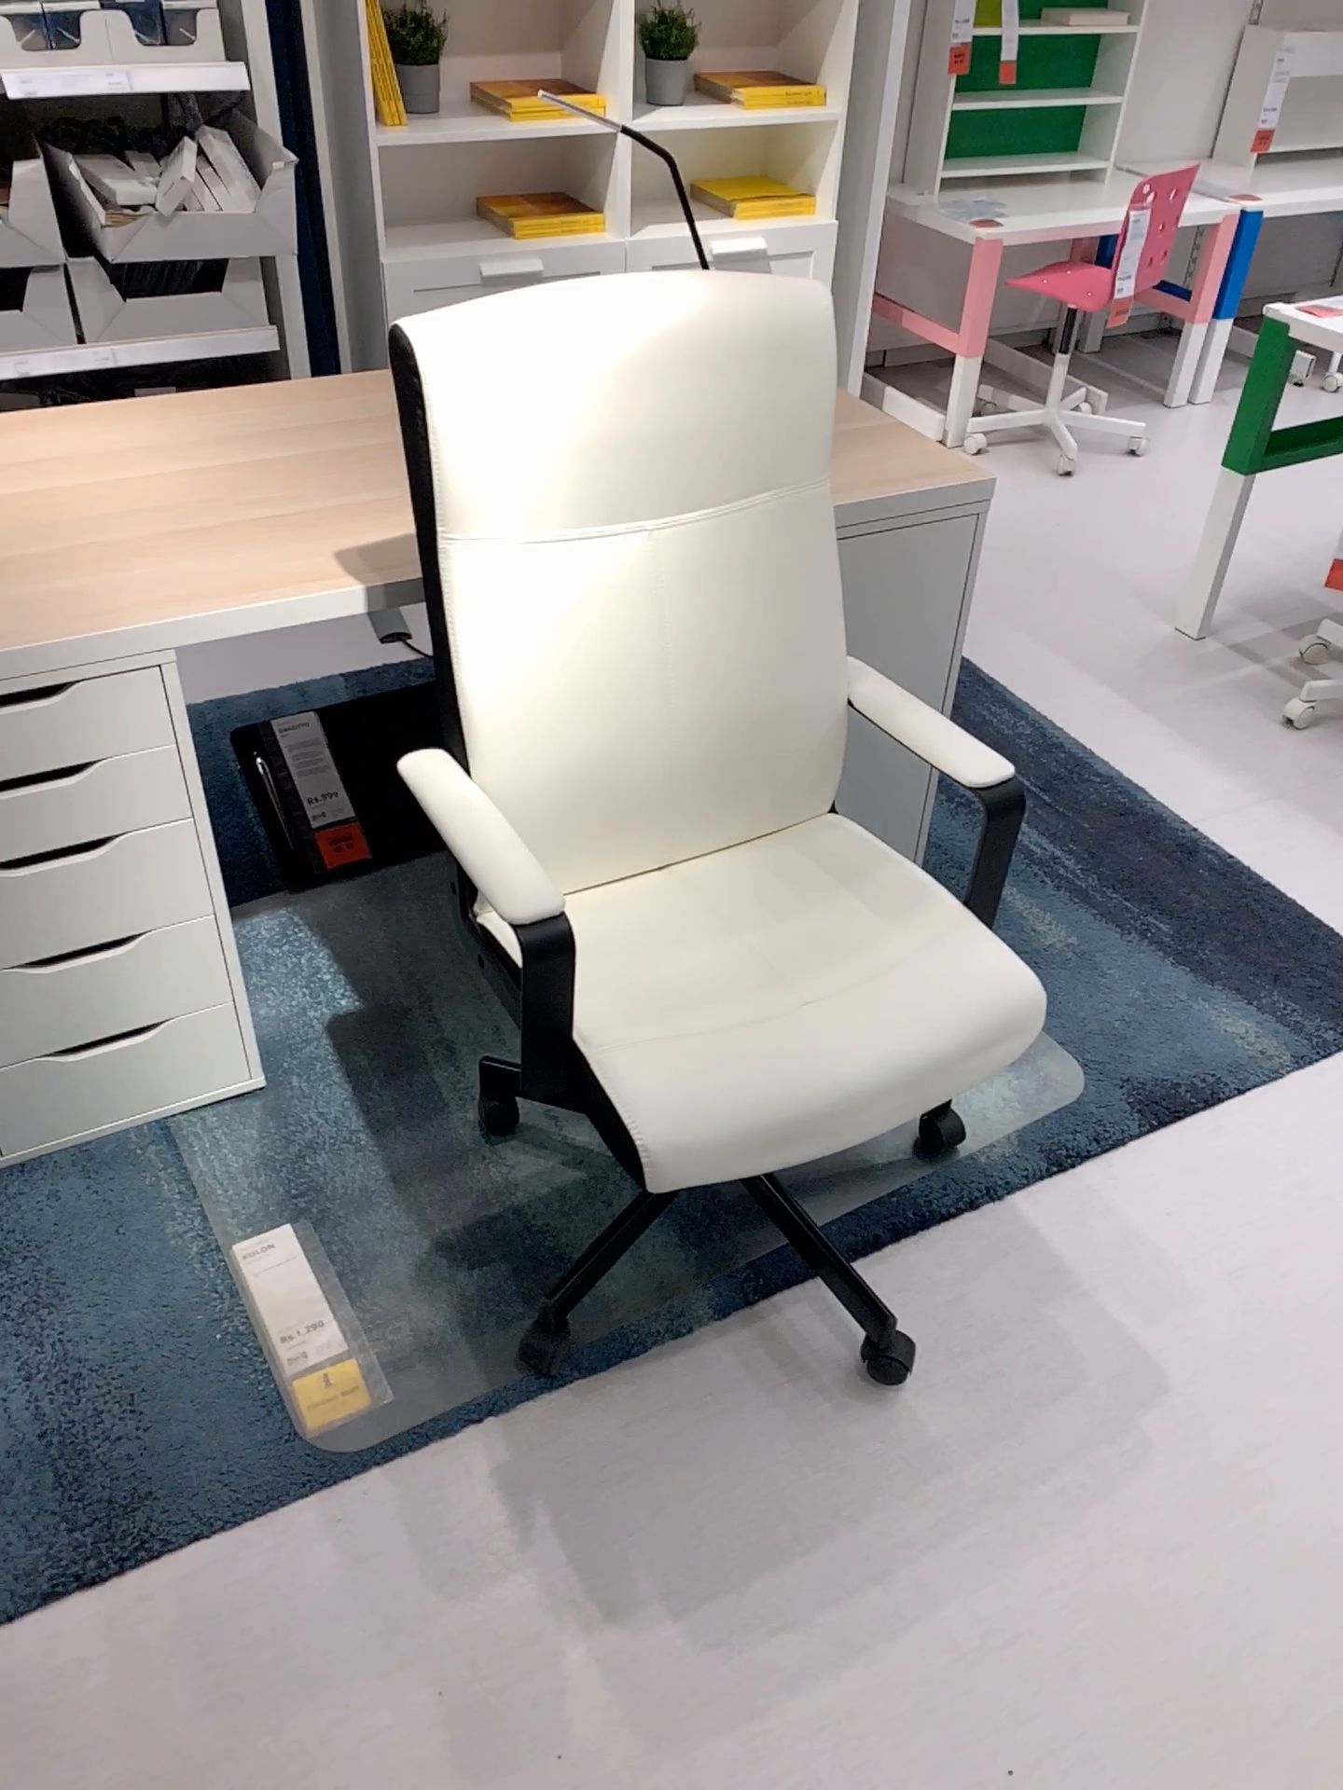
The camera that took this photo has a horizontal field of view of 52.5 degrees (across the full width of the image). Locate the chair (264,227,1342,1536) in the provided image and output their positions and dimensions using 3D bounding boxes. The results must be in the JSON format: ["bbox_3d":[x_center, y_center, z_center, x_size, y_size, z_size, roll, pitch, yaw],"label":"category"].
[{"bbox_3d":[0.093,-0.052,1.380,0.691,0.956,0.702,-16,42,-23],"label":"chair"}]
